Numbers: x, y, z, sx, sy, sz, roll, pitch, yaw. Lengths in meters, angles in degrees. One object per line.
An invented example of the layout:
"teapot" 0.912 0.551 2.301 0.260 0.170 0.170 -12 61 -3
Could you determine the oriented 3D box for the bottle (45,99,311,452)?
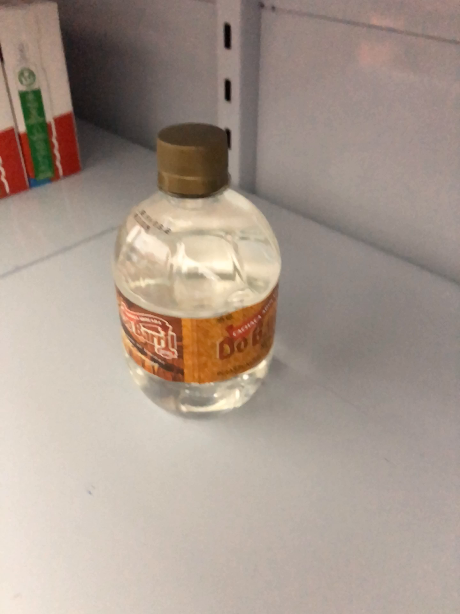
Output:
"bottle" -0.020 -0.016 0.261 0.080 0.139 0.080 0 38 0
